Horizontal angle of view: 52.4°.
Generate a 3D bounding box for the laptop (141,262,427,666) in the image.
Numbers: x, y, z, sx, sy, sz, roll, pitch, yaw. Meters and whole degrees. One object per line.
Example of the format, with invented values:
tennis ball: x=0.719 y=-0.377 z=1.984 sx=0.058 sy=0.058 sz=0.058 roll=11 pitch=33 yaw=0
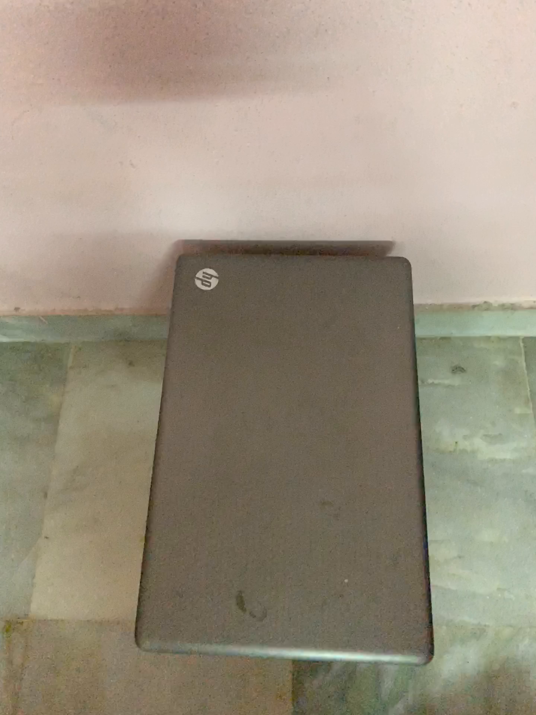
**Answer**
laptop: x=0.020 y=0.077 z=0.526 sx=0.242 sy=0.003 sz=0.379 roll=1 pitch=70 yaw=3
